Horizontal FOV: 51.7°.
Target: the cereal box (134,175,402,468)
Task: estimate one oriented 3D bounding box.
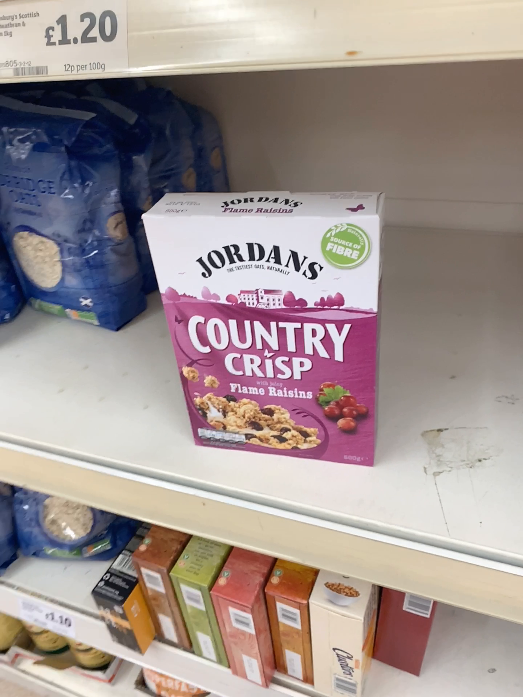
[{"bbox_3d":[0.015,-0.015,0.462,0.190,0.248,0.050,4,35,14],"label":"cereal box"}]
